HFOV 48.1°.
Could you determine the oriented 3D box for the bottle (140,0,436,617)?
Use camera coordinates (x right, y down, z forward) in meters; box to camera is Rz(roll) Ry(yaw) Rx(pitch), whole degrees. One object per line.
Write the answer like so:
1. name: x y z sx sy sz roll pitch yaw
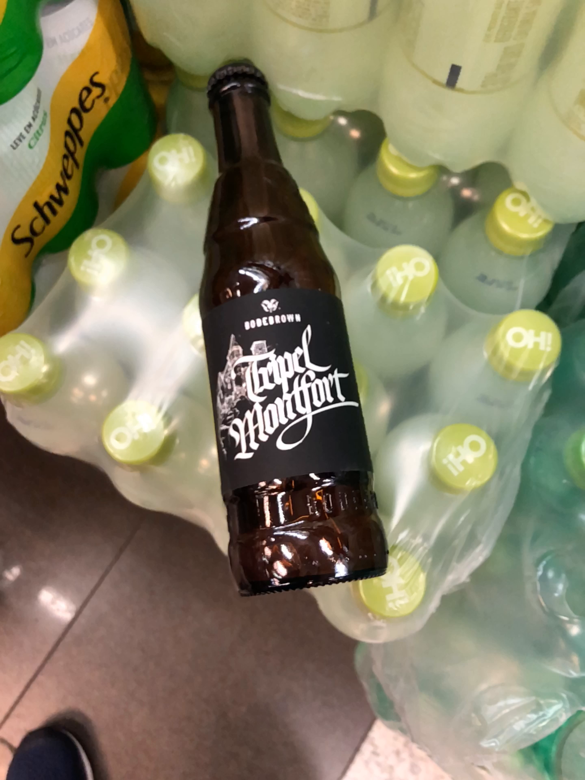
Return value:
1. bottle: -0.008 -0.050 0.258 0.070 0.070 0.250 -7 76 -1
